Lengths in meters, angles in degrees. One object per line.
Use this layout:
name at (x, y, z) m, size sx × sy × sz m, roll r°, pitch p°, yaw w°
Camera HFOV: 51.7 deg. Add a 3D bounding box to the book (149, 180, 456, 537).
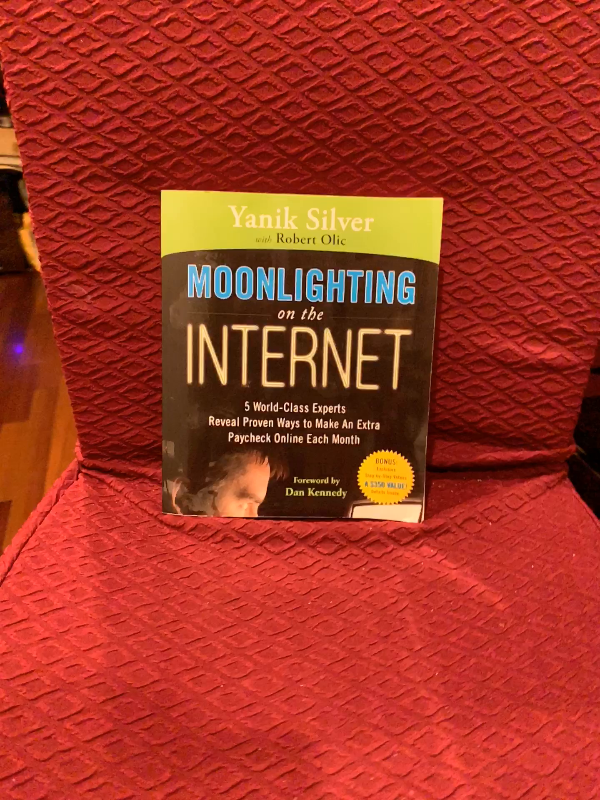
book at (0.000, -0.027, 0.440) m, size 0.200 × 0.240 × 0.040 m, roll 1°, pitch 9°, yaw 1°
